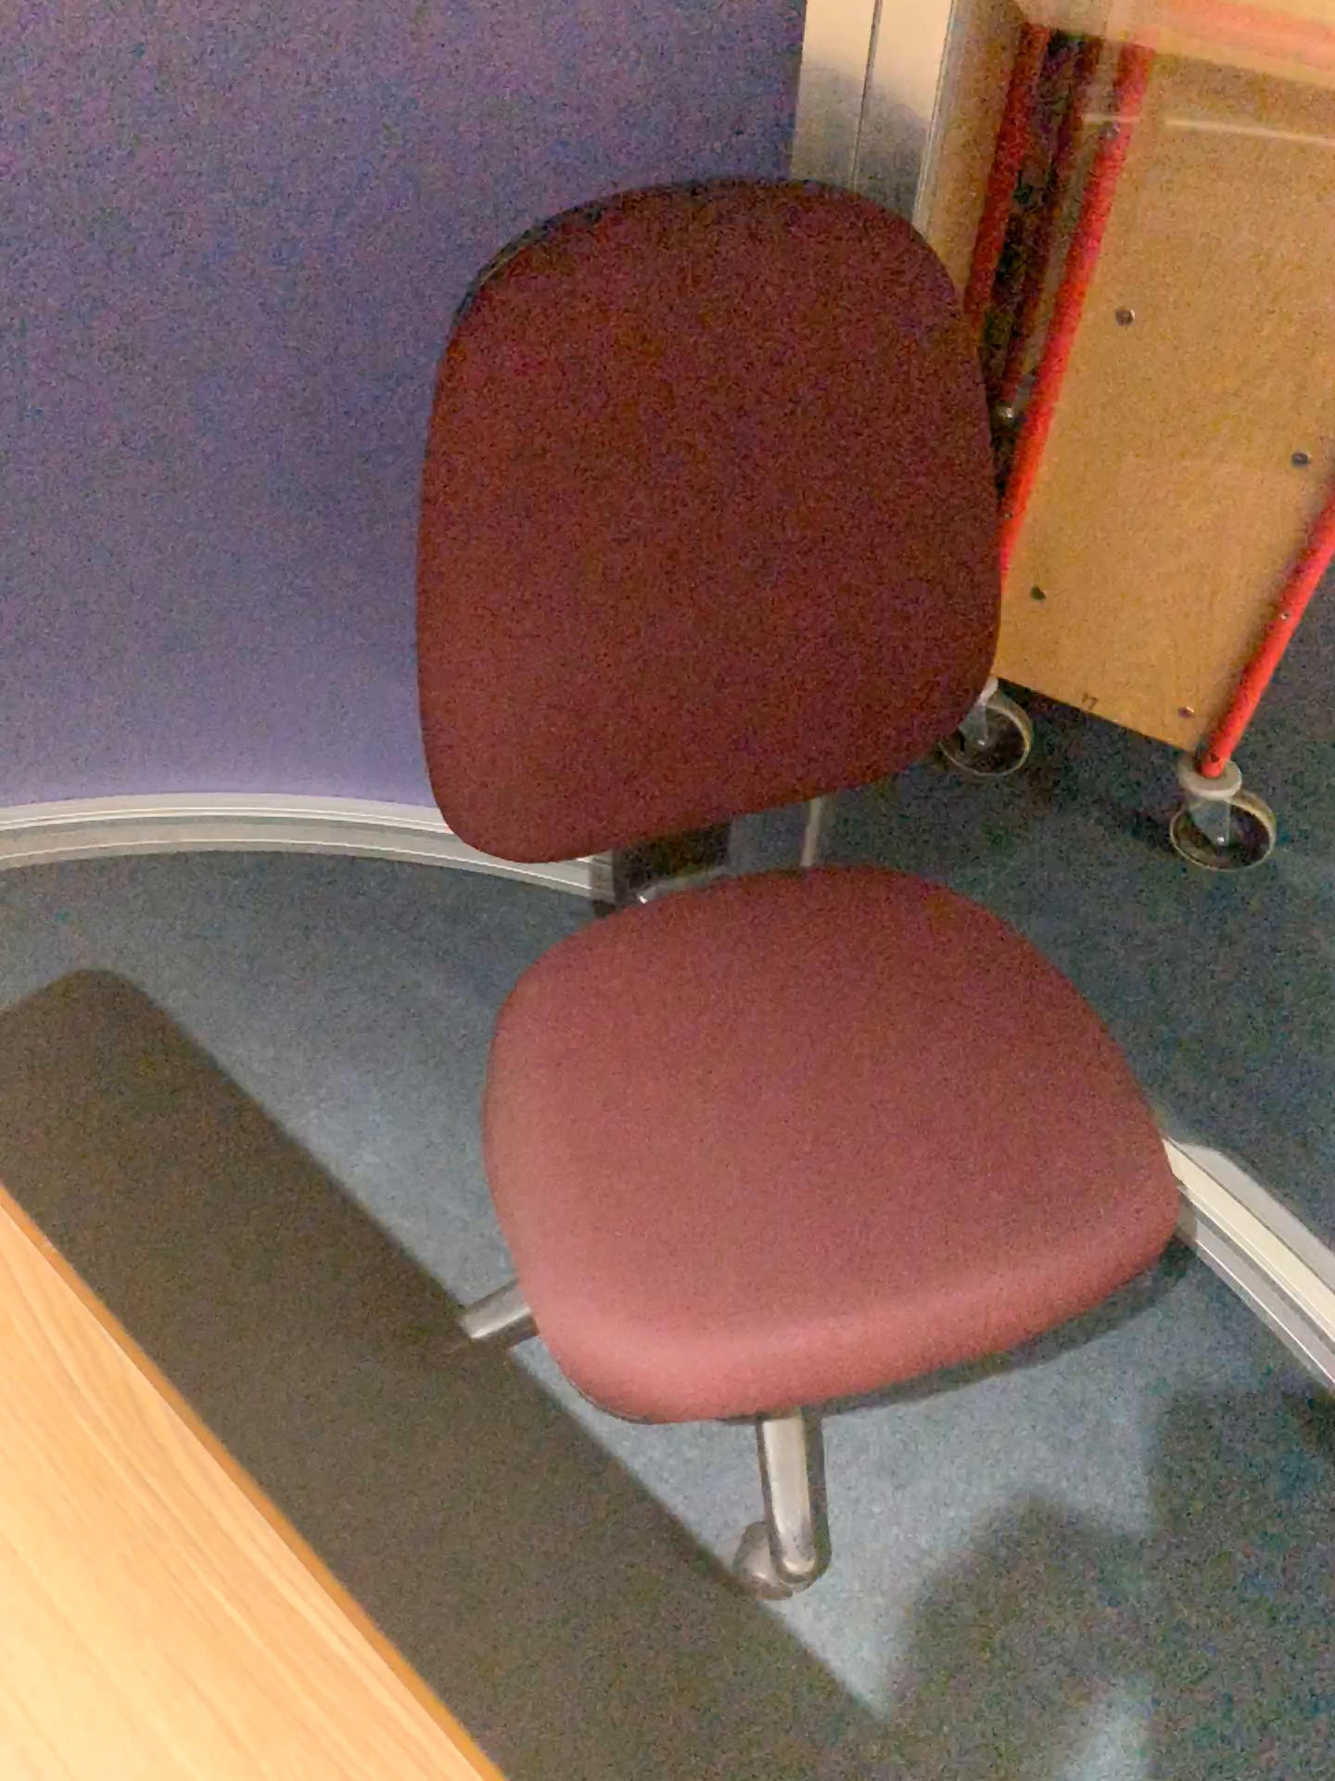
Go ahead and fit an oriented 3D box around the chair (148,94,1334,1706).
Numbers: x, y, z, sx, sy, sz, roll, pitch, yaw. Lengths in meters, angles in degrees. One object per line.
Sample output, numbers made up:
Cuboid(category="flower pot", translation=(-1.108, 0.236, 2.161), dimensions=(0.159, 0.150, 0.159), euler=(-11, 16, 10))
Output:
Cuboid(category="chair", translation=(0.045, -0.013, 1.062), dimensions=(0.581, 0.773, 0.856), euler=(-15, 52, -14))
